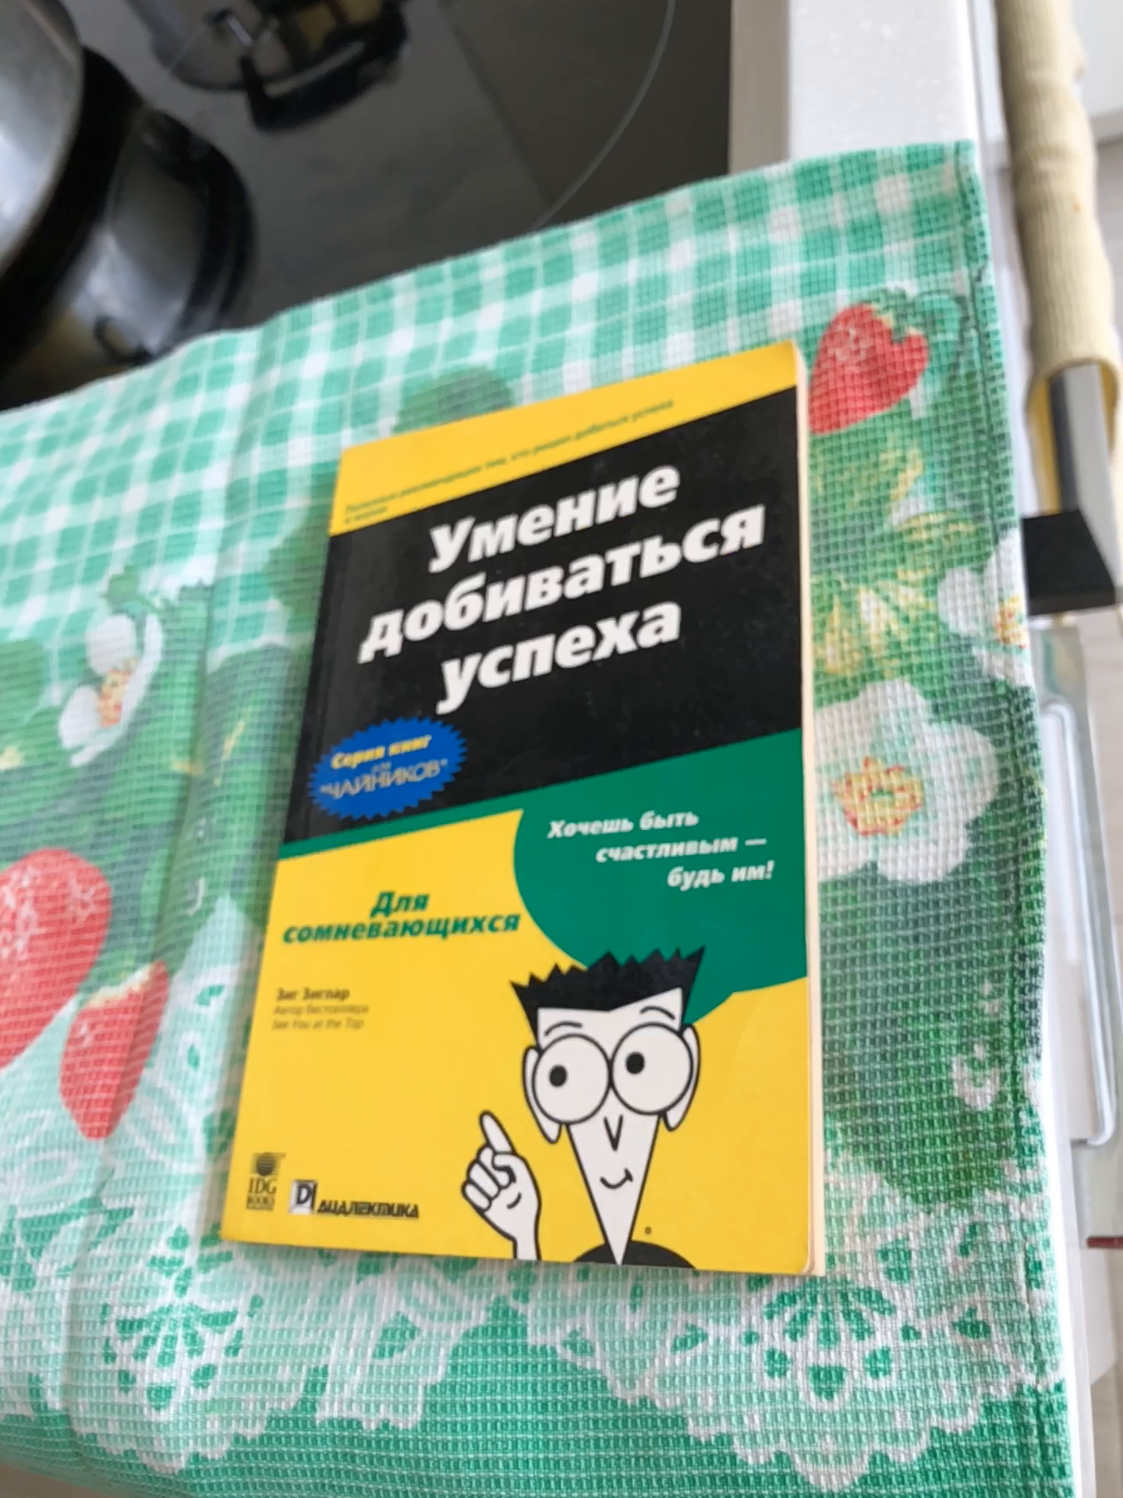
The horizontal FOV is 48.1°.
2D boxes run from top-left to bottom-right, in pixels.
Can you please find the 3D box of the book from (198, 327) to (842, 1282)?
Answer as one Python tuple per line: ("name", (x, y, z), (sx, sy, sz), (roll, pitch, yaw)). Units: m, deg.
("book", (-0.006, 0.006, 0.244), (0.113, 0.017, 0.172), (-7, 64, 25))
